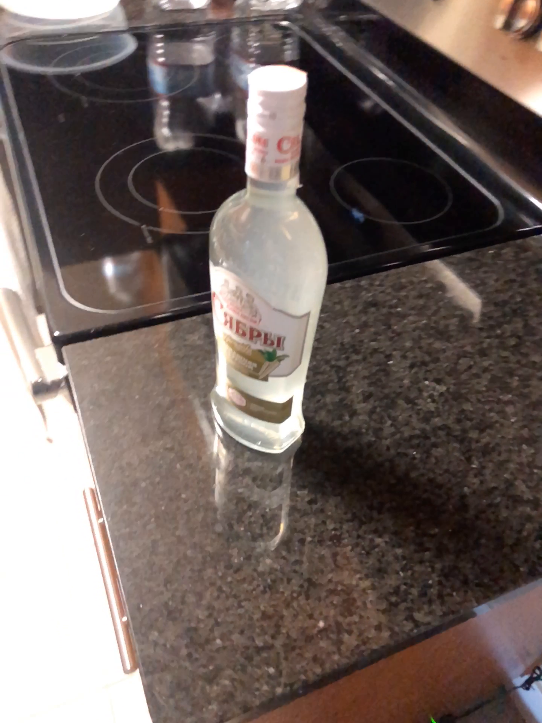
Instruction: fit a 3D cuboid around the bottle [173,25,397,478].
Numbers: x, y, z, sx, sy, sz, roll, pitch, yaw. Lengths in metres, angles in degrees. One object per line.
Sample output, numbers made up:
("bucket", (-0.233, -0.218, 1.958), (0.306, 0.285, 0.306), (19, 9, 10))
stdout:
("bottle", (-0.002, -0.046, 0.377), (0.060, 0.269, 0.090), (-31, 56, -29))
